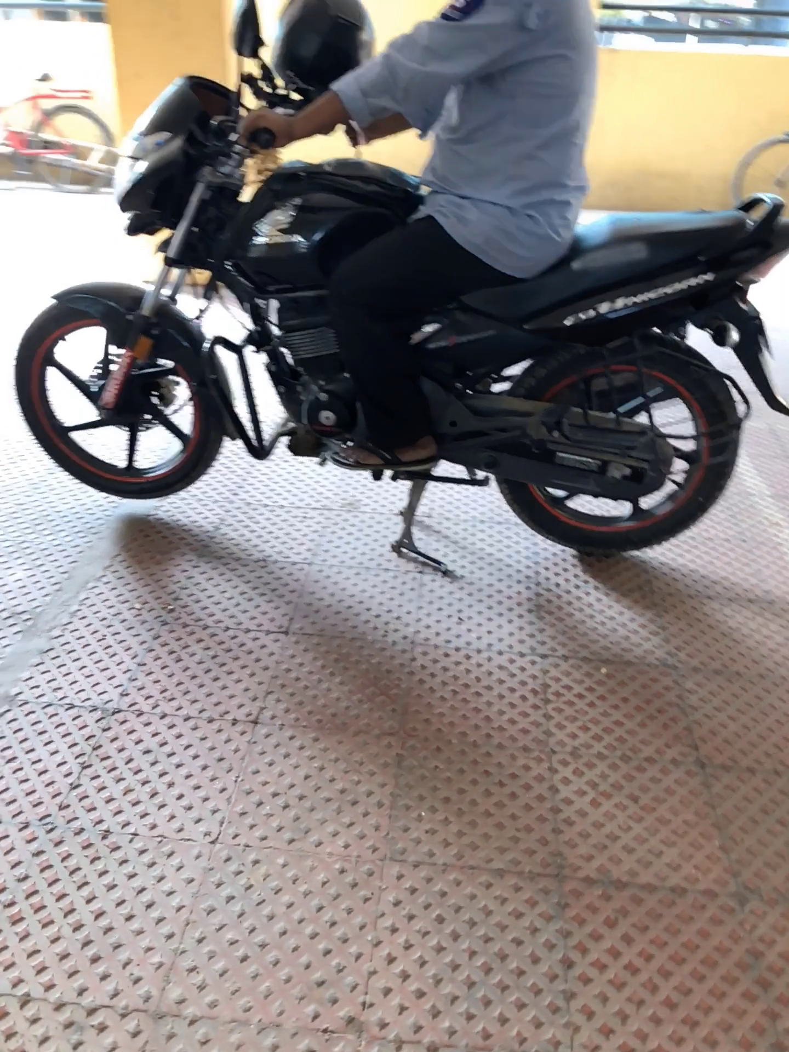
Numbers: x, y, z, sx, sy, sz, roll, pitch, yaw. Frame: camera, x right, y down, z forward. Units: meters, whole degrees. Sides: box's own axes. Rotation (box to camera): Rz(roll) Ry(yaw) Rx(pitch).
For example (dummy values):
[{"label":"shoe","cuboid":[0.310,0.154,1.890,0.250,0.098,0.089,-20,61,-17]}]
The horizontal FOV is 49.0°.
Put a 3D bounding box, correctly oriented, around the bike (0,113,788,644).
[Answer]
[{"label":"bike","cuboid":[-0.072,-0.438,2.200,1.882,1.009,0.791,5,30,7]}]
